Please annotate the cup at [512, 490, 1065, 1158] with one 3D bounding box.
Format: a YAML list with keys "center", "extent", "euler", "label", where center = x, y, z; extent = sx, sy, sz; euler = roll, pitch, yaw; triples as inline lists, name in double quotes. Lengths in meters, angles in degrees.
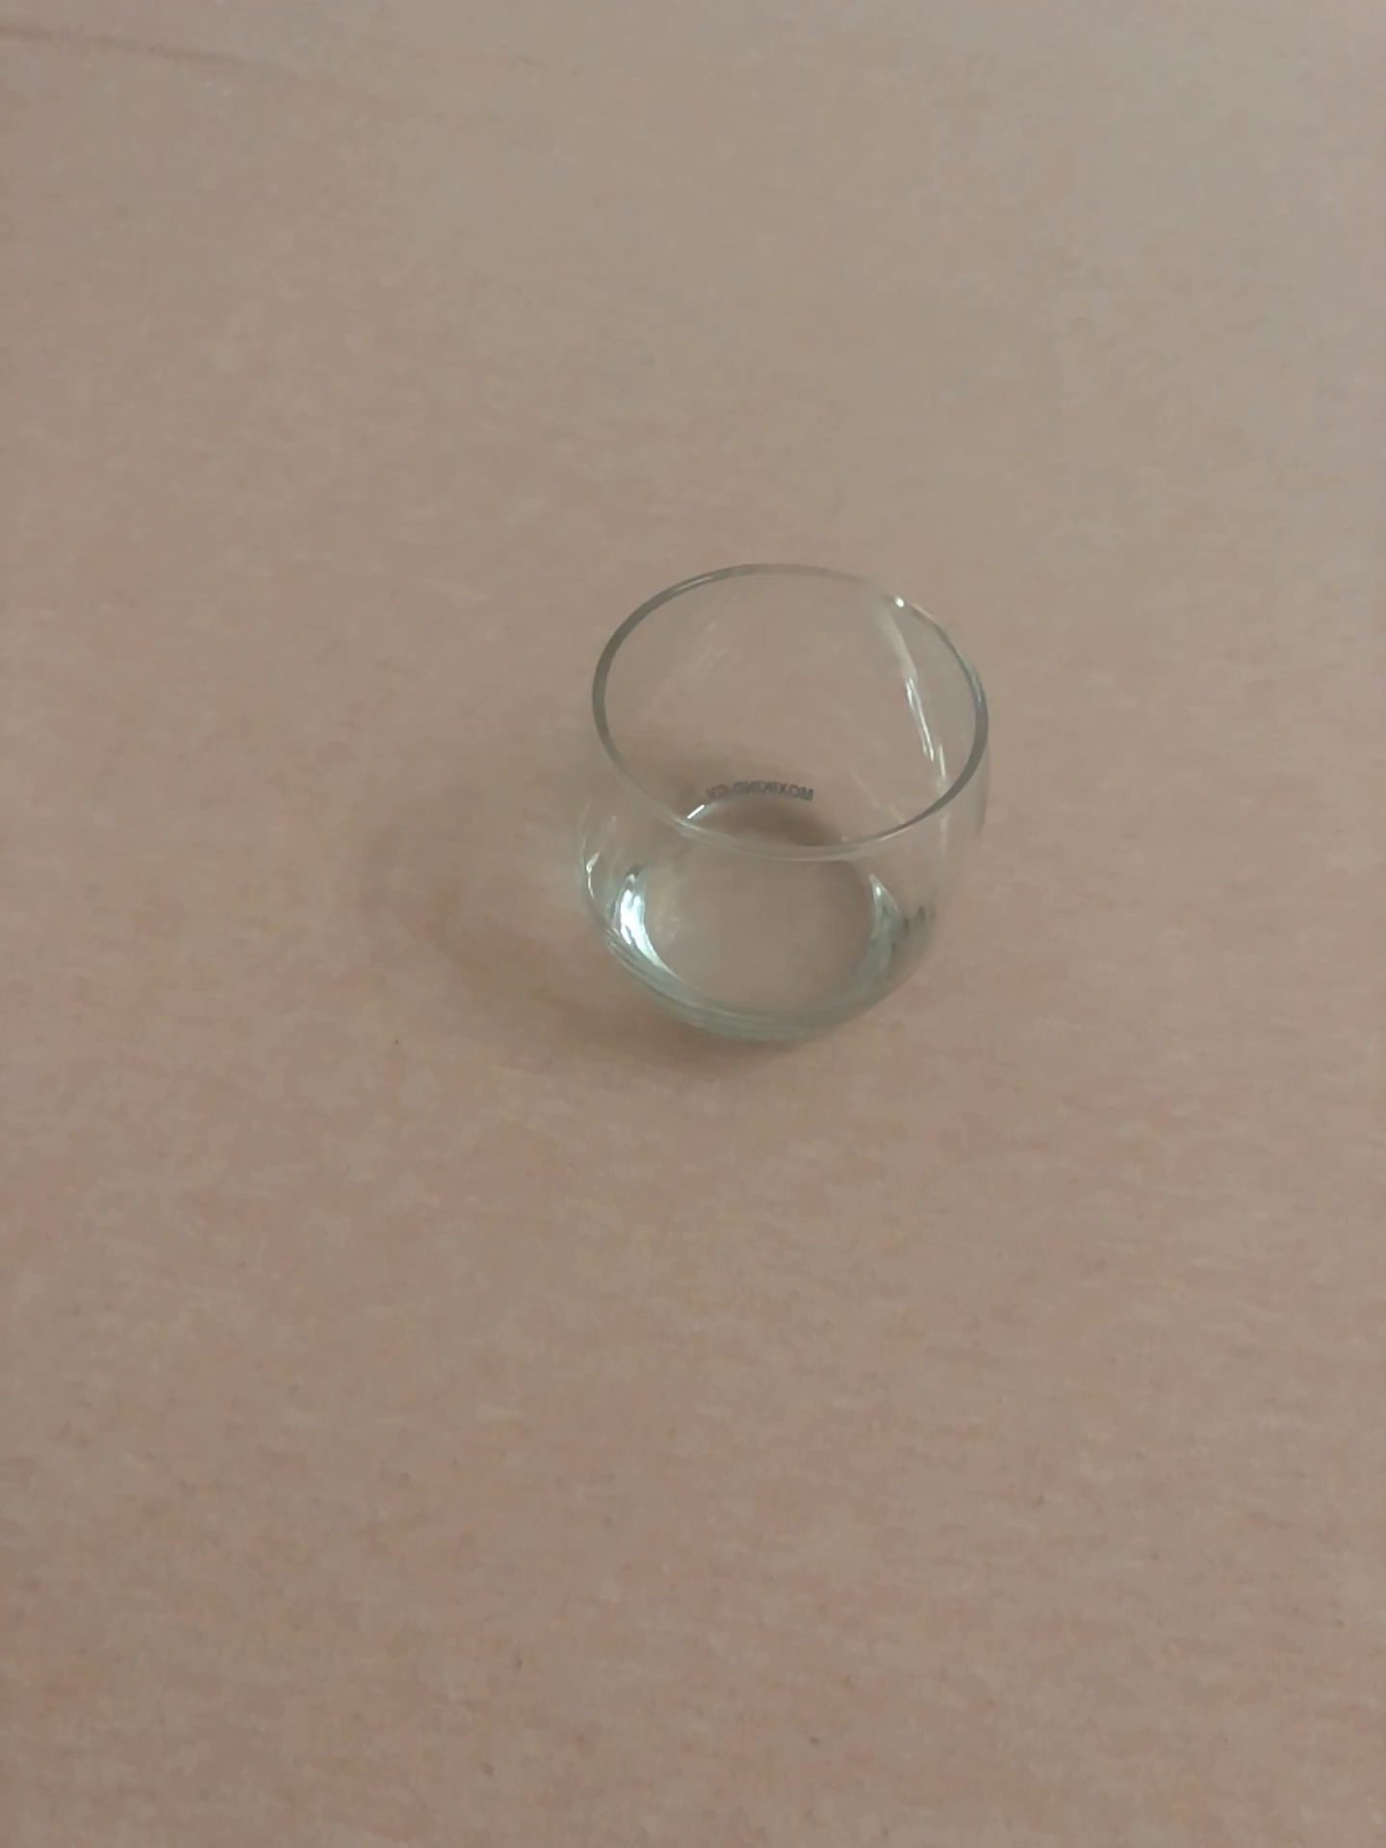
- center: [0.020, -0.022, 0.360]
  extent: [0.090, 0.100, 0.090]
  euler: [2, 54, -2]
  label: "cup"
